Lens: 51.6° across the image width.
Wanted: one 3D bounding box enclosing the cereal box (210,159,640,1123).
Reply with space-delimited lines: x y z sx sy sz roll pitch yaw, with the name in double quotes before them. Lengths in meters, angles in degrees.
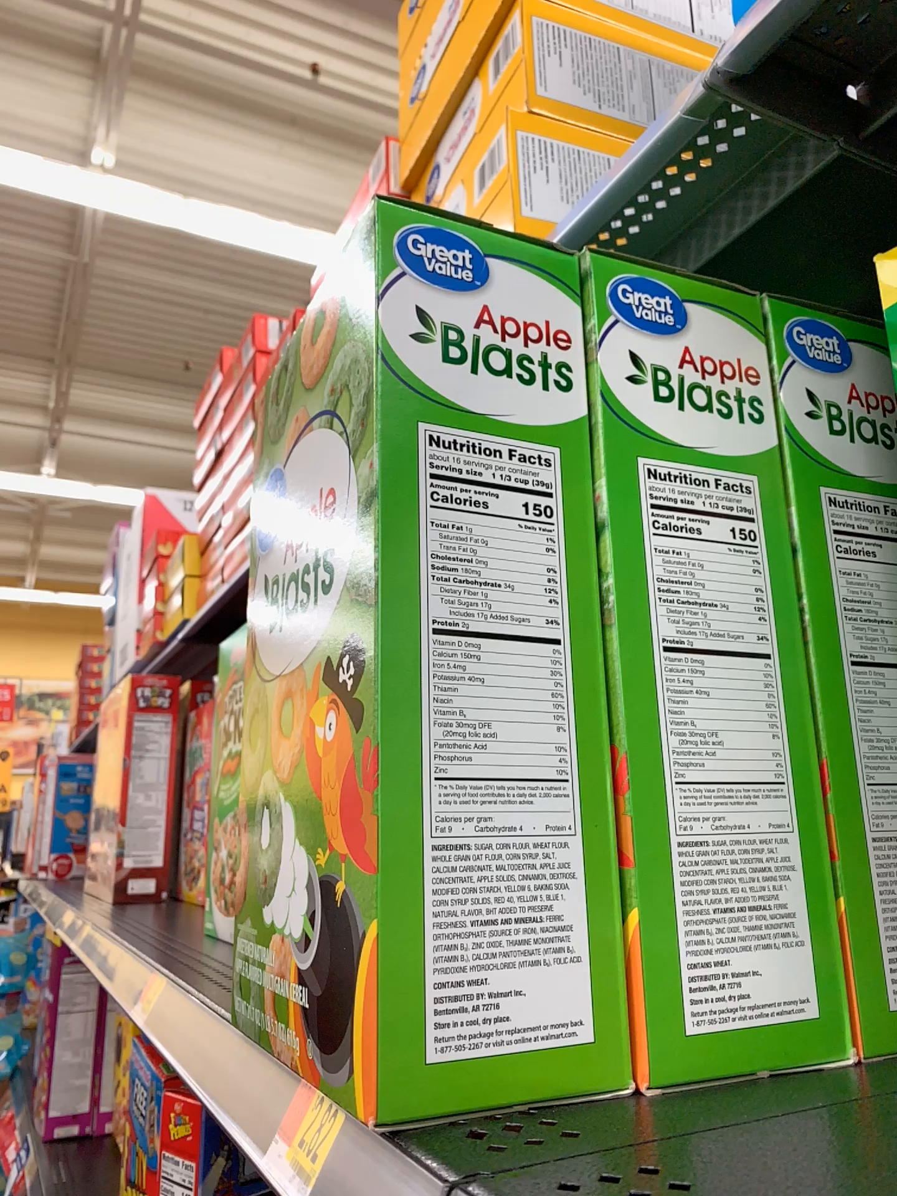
"cereal box" -0.026 0.020 0.420 0.100 0.331 0.200 7 -17 -25
